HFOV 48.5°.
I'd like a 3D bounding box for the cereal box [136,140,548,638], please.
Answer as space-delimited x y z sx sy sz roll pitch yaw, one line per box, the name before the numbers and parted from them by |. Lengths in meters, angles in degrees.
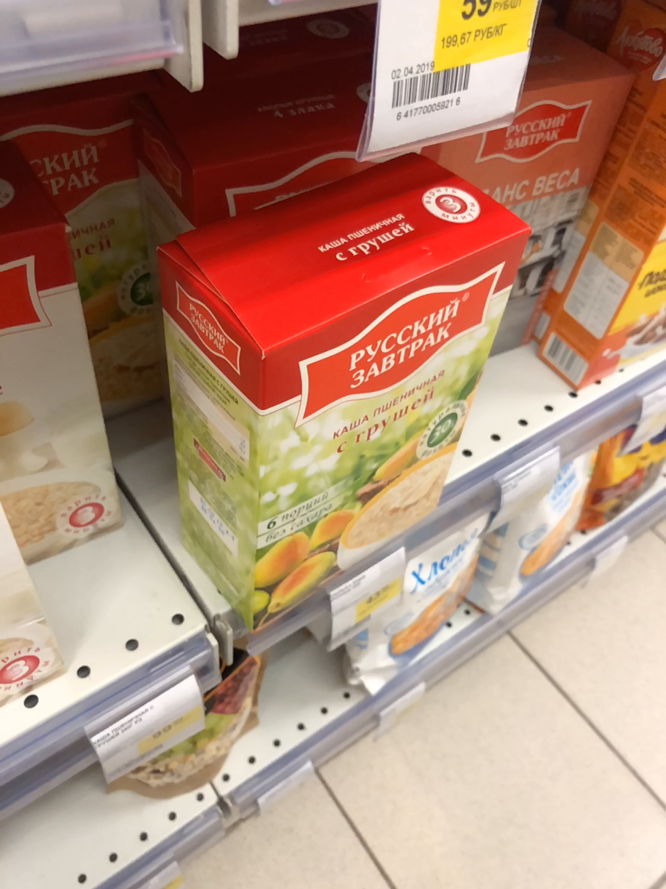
cereal box | -0.001 -0.017 0.333 0.140 0.189 0.060 -29 59 -28
